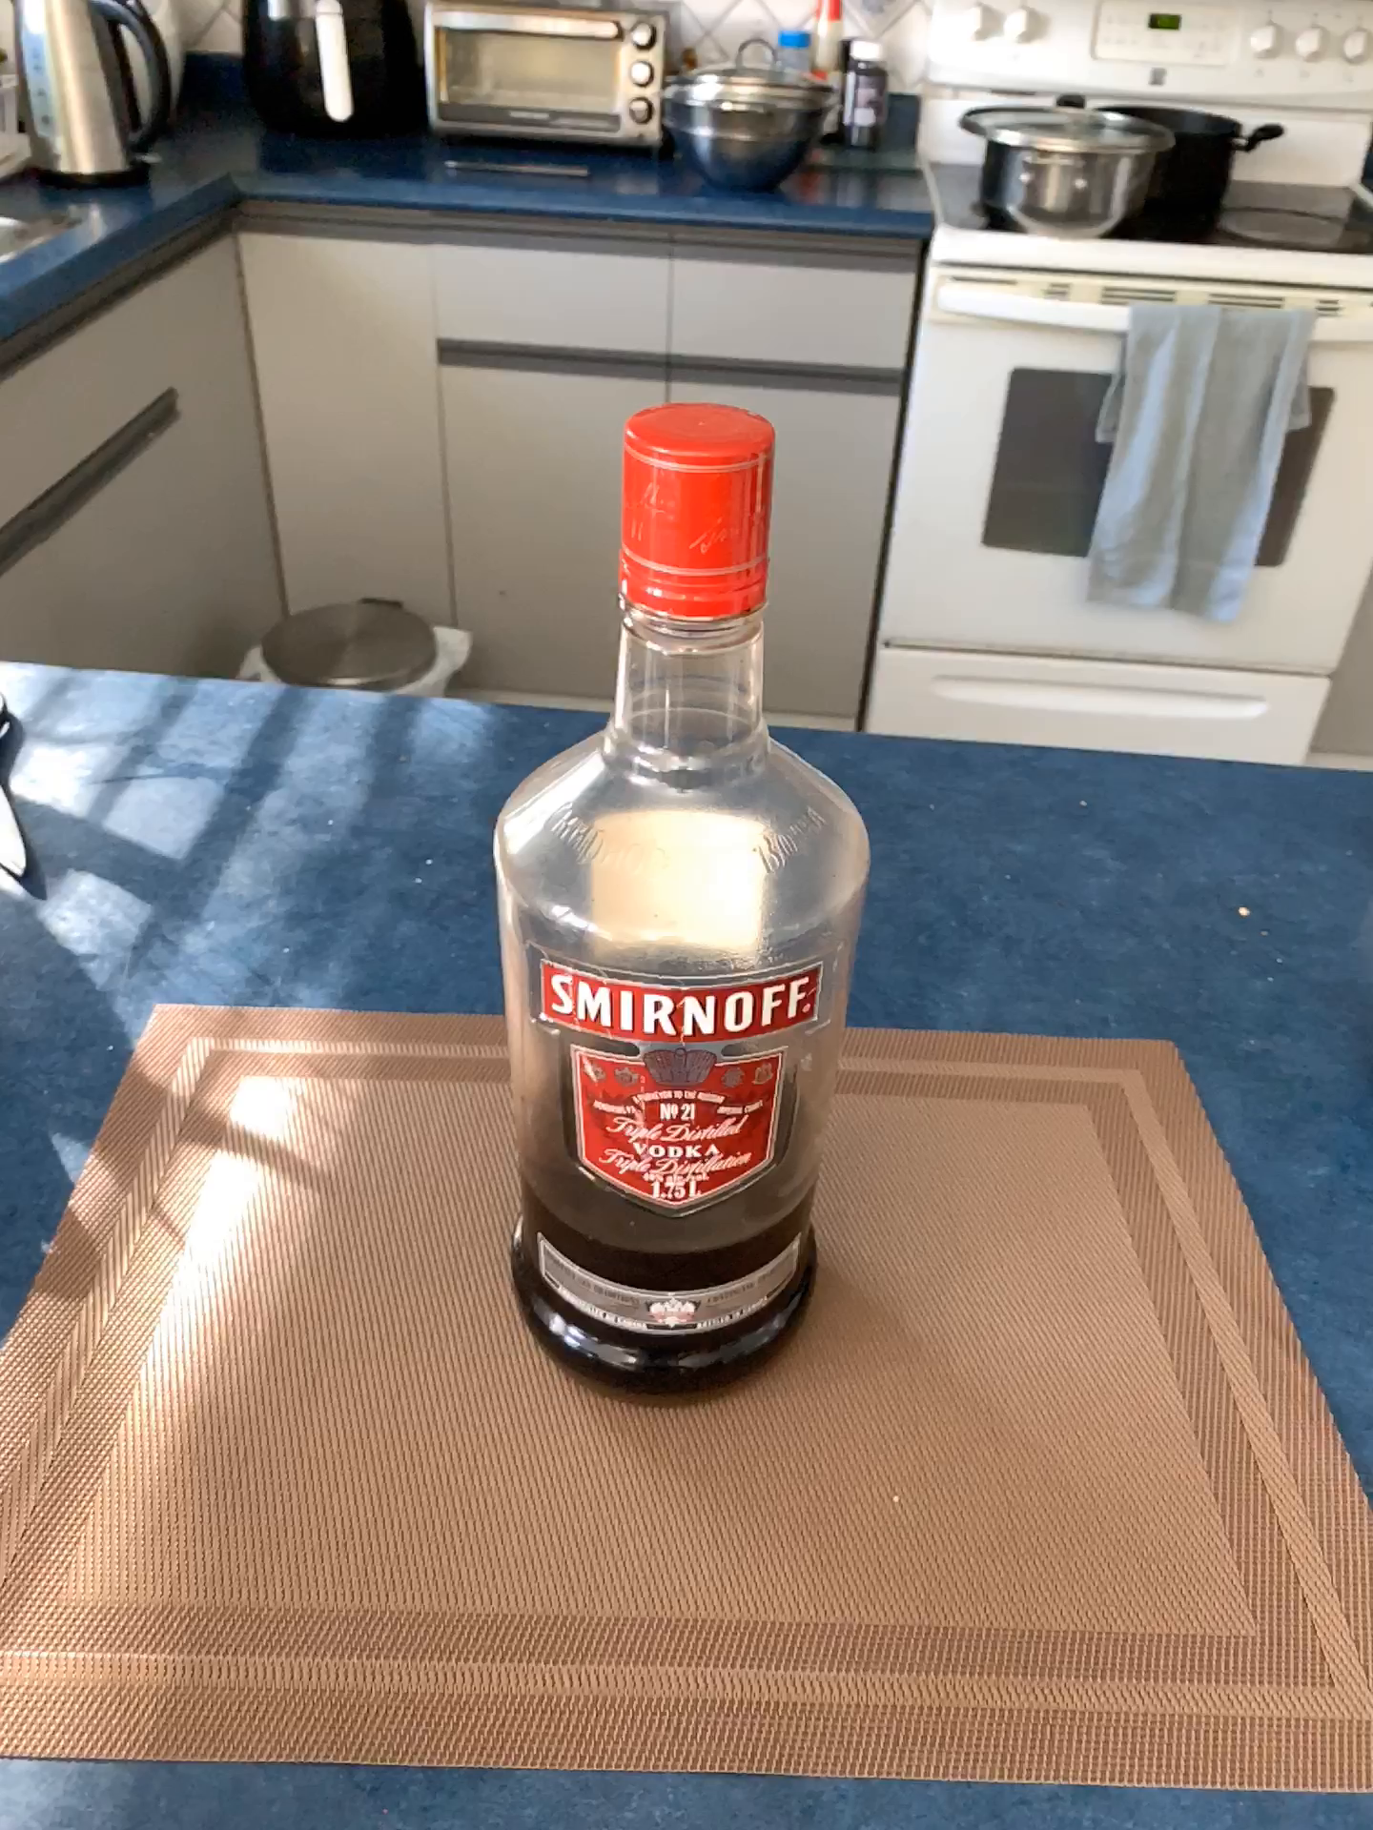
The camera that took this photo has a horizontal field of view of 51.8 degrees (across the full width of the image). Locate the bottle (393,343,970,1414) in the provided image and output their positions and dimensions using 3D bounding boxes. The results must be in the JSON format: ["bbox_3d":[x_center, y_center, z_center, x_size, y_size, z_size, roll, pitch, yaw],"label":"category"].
[{"bbox_3d":[-0.007,0.008,0.432,0.120,0.317,0.111,2,36,-1],"label":"bottle"}]
